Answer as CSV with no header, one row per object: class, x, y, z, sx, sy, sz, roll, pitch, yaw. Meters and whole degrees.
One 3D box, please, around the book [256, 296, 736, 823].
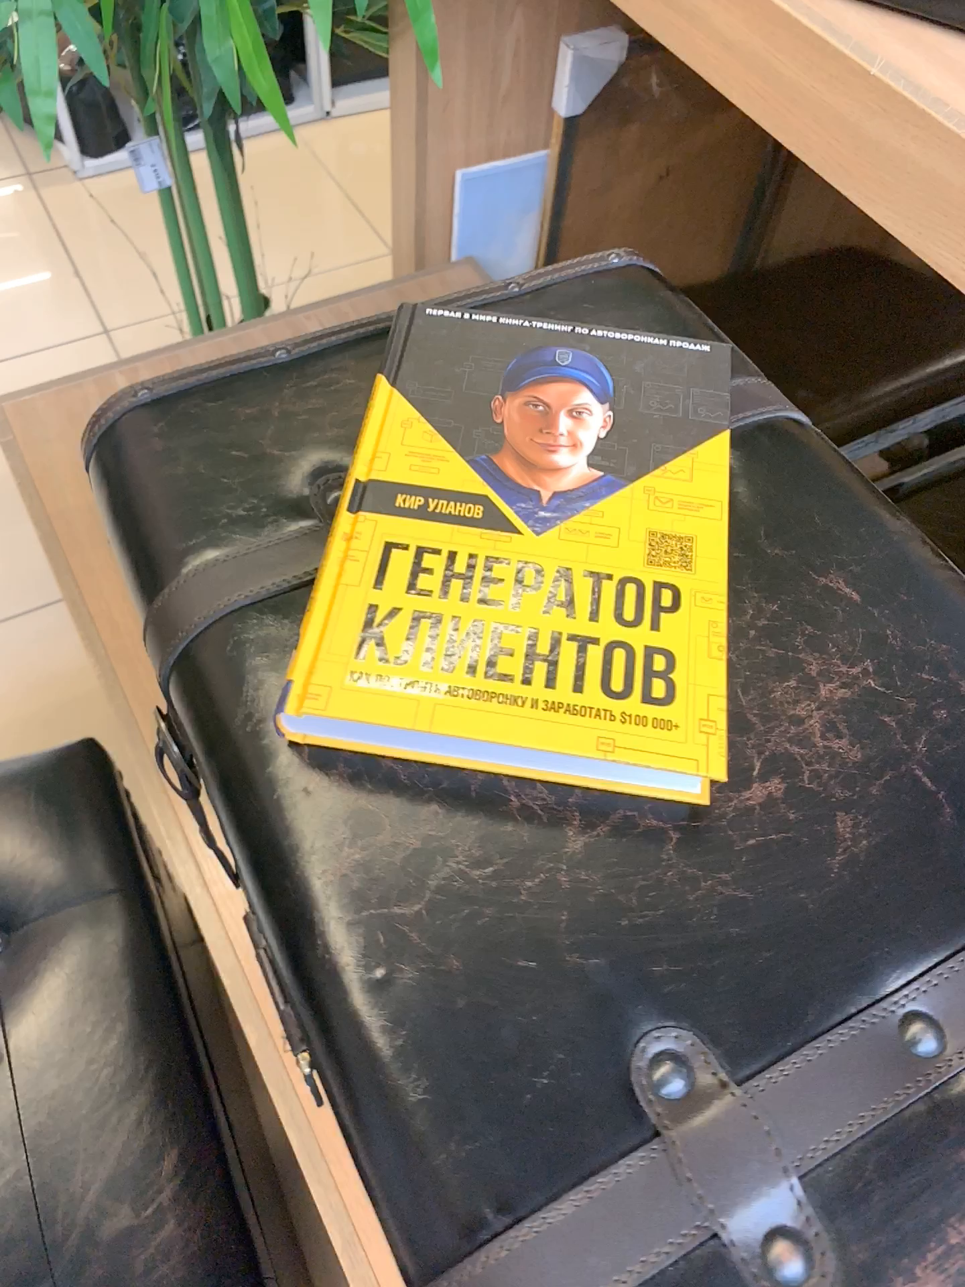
book,0.021,-0.053,0.424,0.167,0.030,0.243,8,54,3
